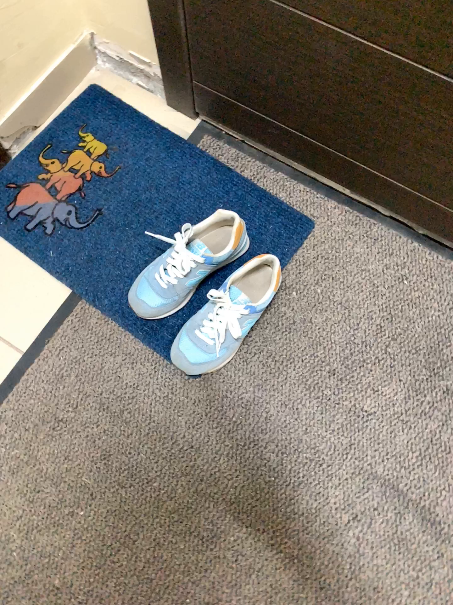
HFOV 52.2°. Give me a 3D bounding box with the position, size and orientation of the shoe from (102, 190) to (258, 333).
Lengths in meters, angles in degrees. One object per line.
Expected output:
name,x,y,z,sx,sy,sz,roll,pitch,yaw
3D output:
shoe,-0.077,-0.067,0.829,0.260,0.140,0.080,-37,80,-11

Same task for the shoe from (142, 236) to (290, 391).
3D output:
shoe,-0.011,0.022,0.803,0.090,0.120,0.250,42,77,16
